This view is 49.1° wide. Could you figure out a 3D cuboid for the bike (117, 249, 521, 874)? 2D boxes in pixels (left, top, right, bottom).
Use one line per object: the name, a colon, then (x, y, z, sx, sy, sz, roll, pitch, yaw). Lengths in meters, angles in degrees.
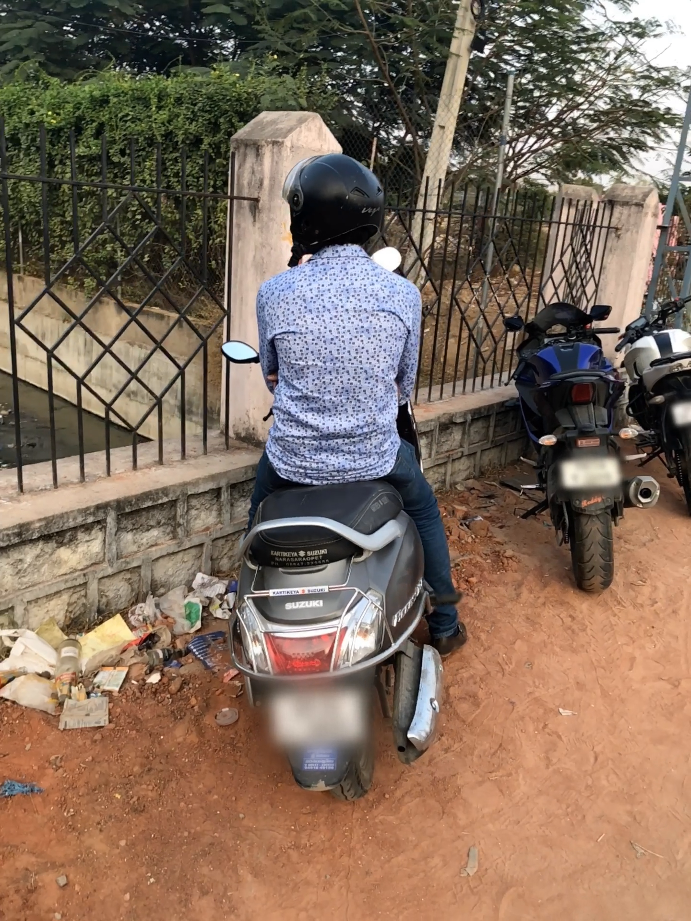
bike: (-0.162, 0.109, 2.394, 0.796, 1.217, 1.587, 3, 21, -7)
